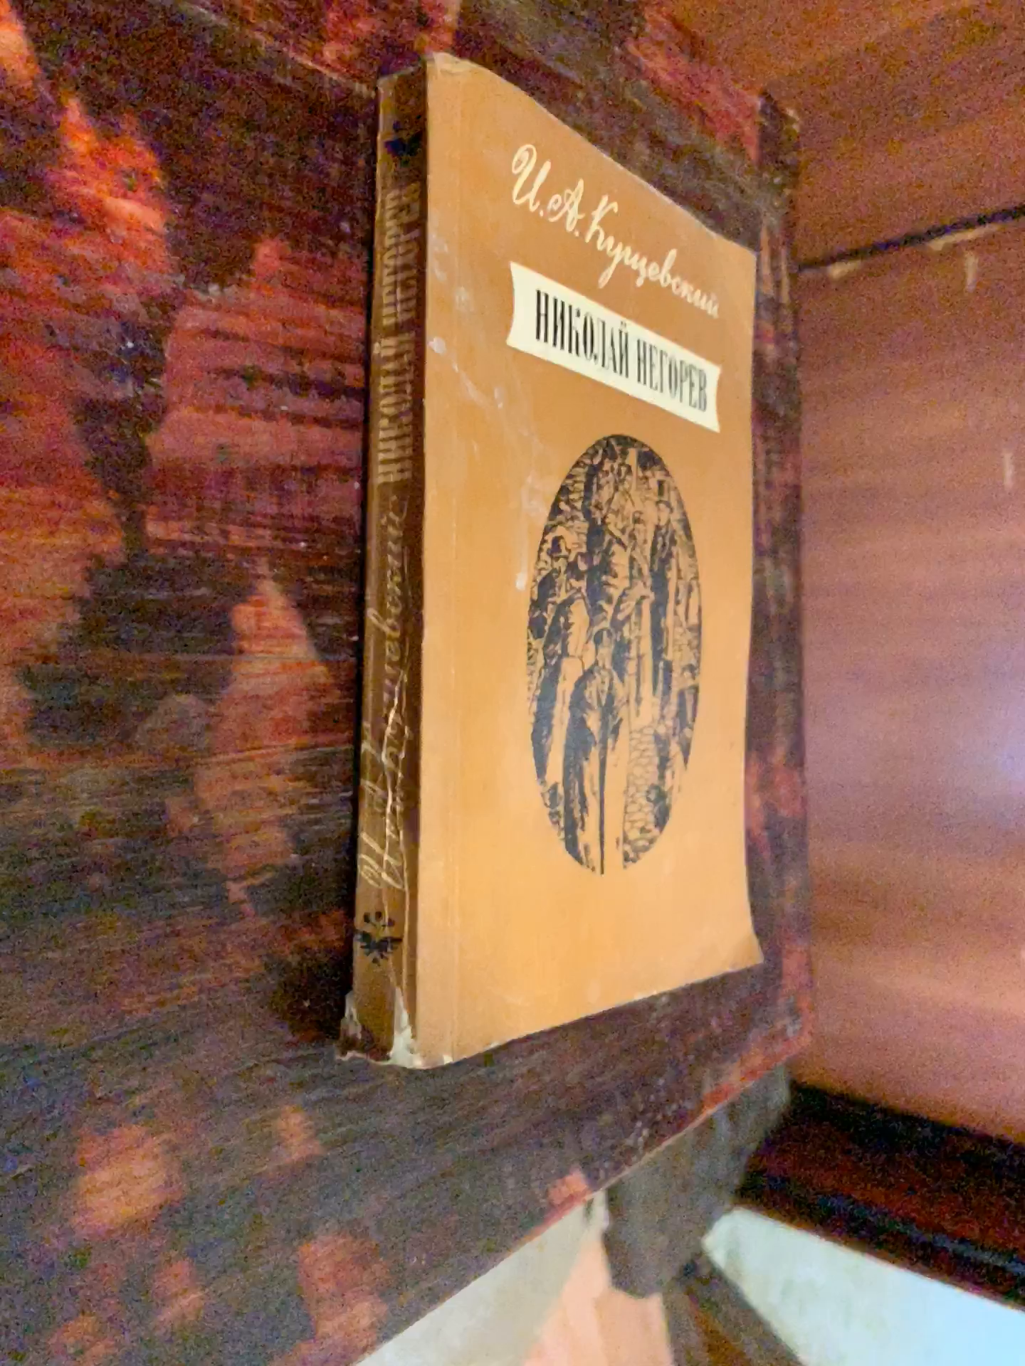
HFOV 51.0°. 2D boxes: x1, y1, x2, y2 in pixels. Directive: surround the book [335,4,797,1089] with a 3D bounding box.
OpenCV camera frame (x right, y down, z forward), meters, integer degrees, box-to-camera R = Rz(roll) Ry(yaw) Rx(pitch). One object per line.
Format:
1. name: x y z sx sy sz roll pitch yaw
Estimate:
1. book: 0.021 -0.023 0.245 0.131 0.024 0.190 1 90 -48
